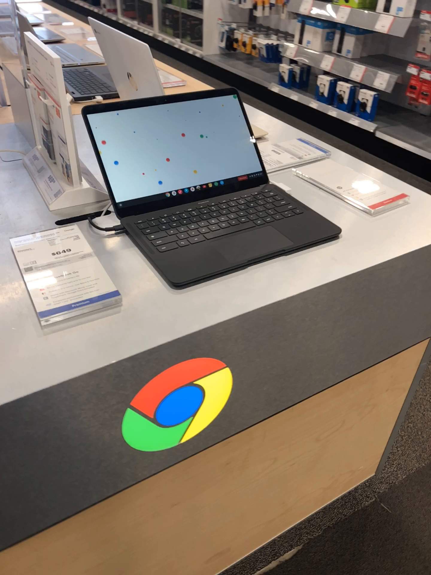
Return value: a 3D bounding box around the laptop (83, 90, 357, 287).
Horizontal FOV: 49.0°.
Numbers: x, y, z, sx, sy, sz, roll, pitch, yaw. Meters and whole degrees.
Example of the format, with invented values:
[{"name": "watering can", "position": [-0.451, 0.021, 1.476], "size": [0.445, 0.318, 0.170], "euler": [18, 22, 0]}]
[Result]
[{"name": "laptop", "position": [-0.010, -0.188, 0.762], "size": [0.293, 0.134, 0.336], "euler": [-18, 42, -25]}]
